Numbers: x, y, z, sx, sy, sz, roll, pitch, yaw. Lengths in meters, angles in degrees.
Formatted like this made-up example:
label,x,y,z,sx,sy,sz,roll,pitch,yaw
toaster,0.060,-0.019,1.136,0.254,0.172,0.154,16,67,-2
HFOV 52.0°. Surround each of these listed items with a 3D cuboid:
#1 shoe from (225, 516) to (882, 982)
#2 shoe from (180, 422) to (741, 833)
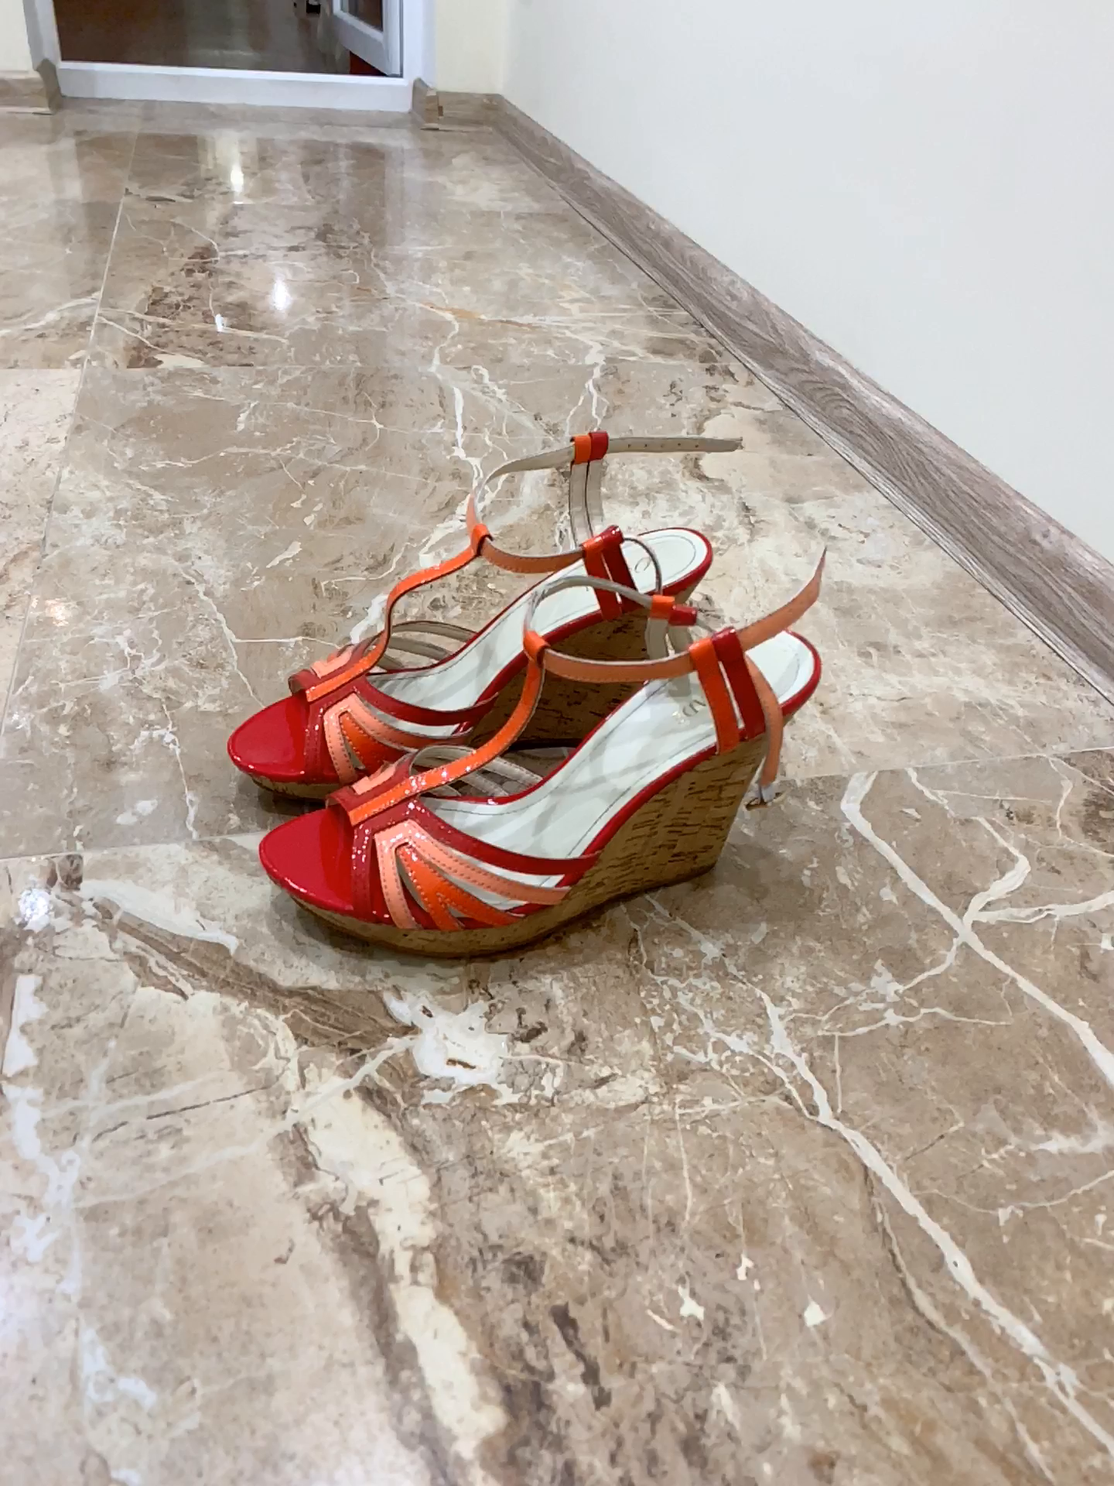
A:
label,x,y,z,sx,sy,sz,roll,pitch,yaw
shoe,-0.006,-0.002,0.439,0.217,0.129,0.080,-8,39,-17
shoe,-0.045,-0.056,0.513,0.217,0.139,0.084,-8,39,-17
